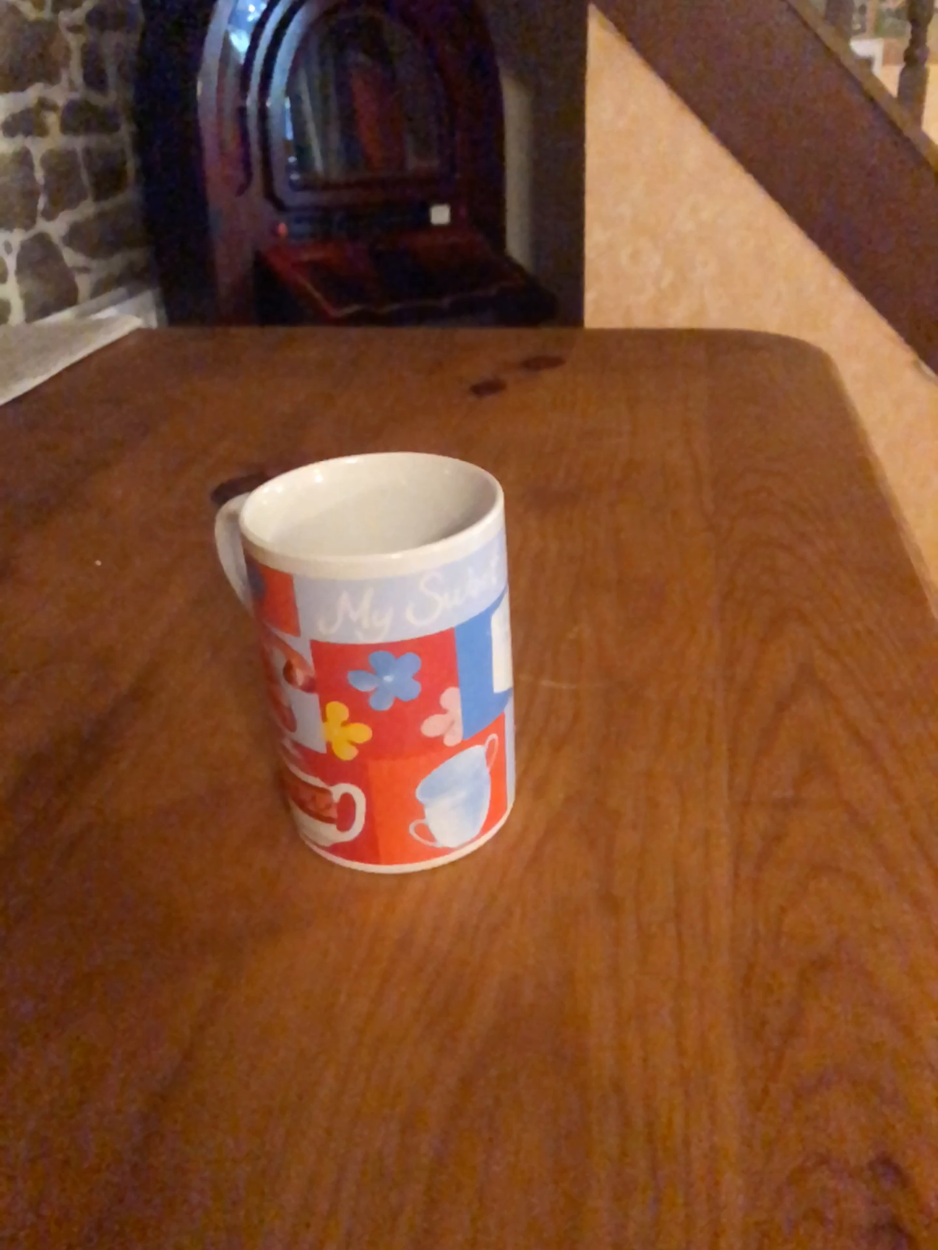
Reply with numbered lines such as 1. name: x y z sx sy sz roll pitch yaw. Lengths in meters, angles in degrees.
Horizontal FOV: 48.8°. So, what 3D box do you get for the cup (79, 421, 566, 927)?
1. cup: -0.040 0.006 0.310 0.112 0.098 0.080 19 35 35
